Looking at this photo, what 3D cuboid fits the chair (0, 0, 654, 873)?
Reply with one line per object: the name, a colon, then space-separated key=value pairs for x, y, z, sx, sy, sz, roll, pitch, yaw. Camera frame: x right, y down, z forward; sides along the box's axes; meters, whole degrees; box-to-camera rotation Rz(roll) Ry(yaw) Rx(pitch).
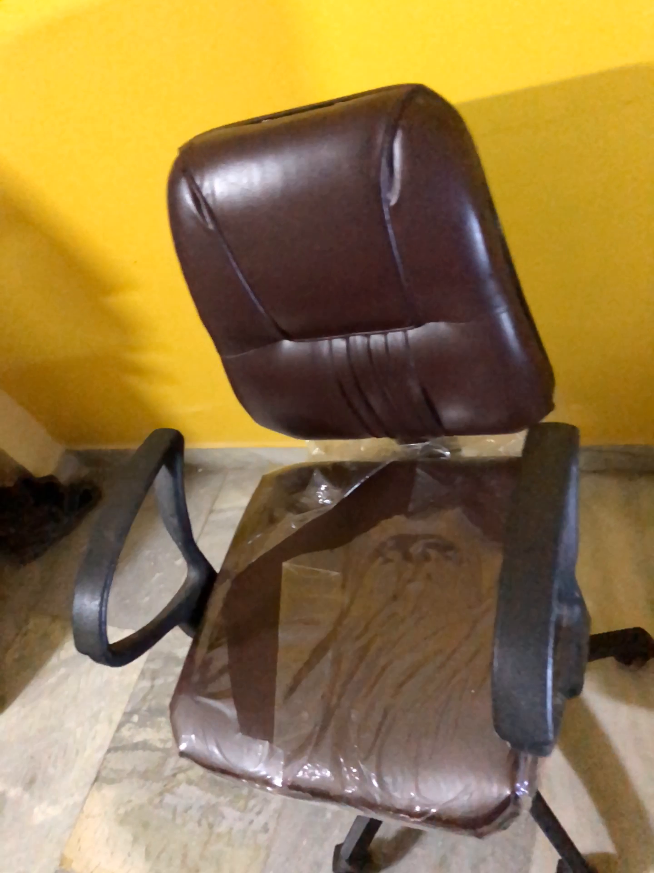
chair: x=0.043 y=0.154 z=0.926 sx=0.690 sy=0.976 sz=0.683 roll=-5 pitch=51 yaw=27
